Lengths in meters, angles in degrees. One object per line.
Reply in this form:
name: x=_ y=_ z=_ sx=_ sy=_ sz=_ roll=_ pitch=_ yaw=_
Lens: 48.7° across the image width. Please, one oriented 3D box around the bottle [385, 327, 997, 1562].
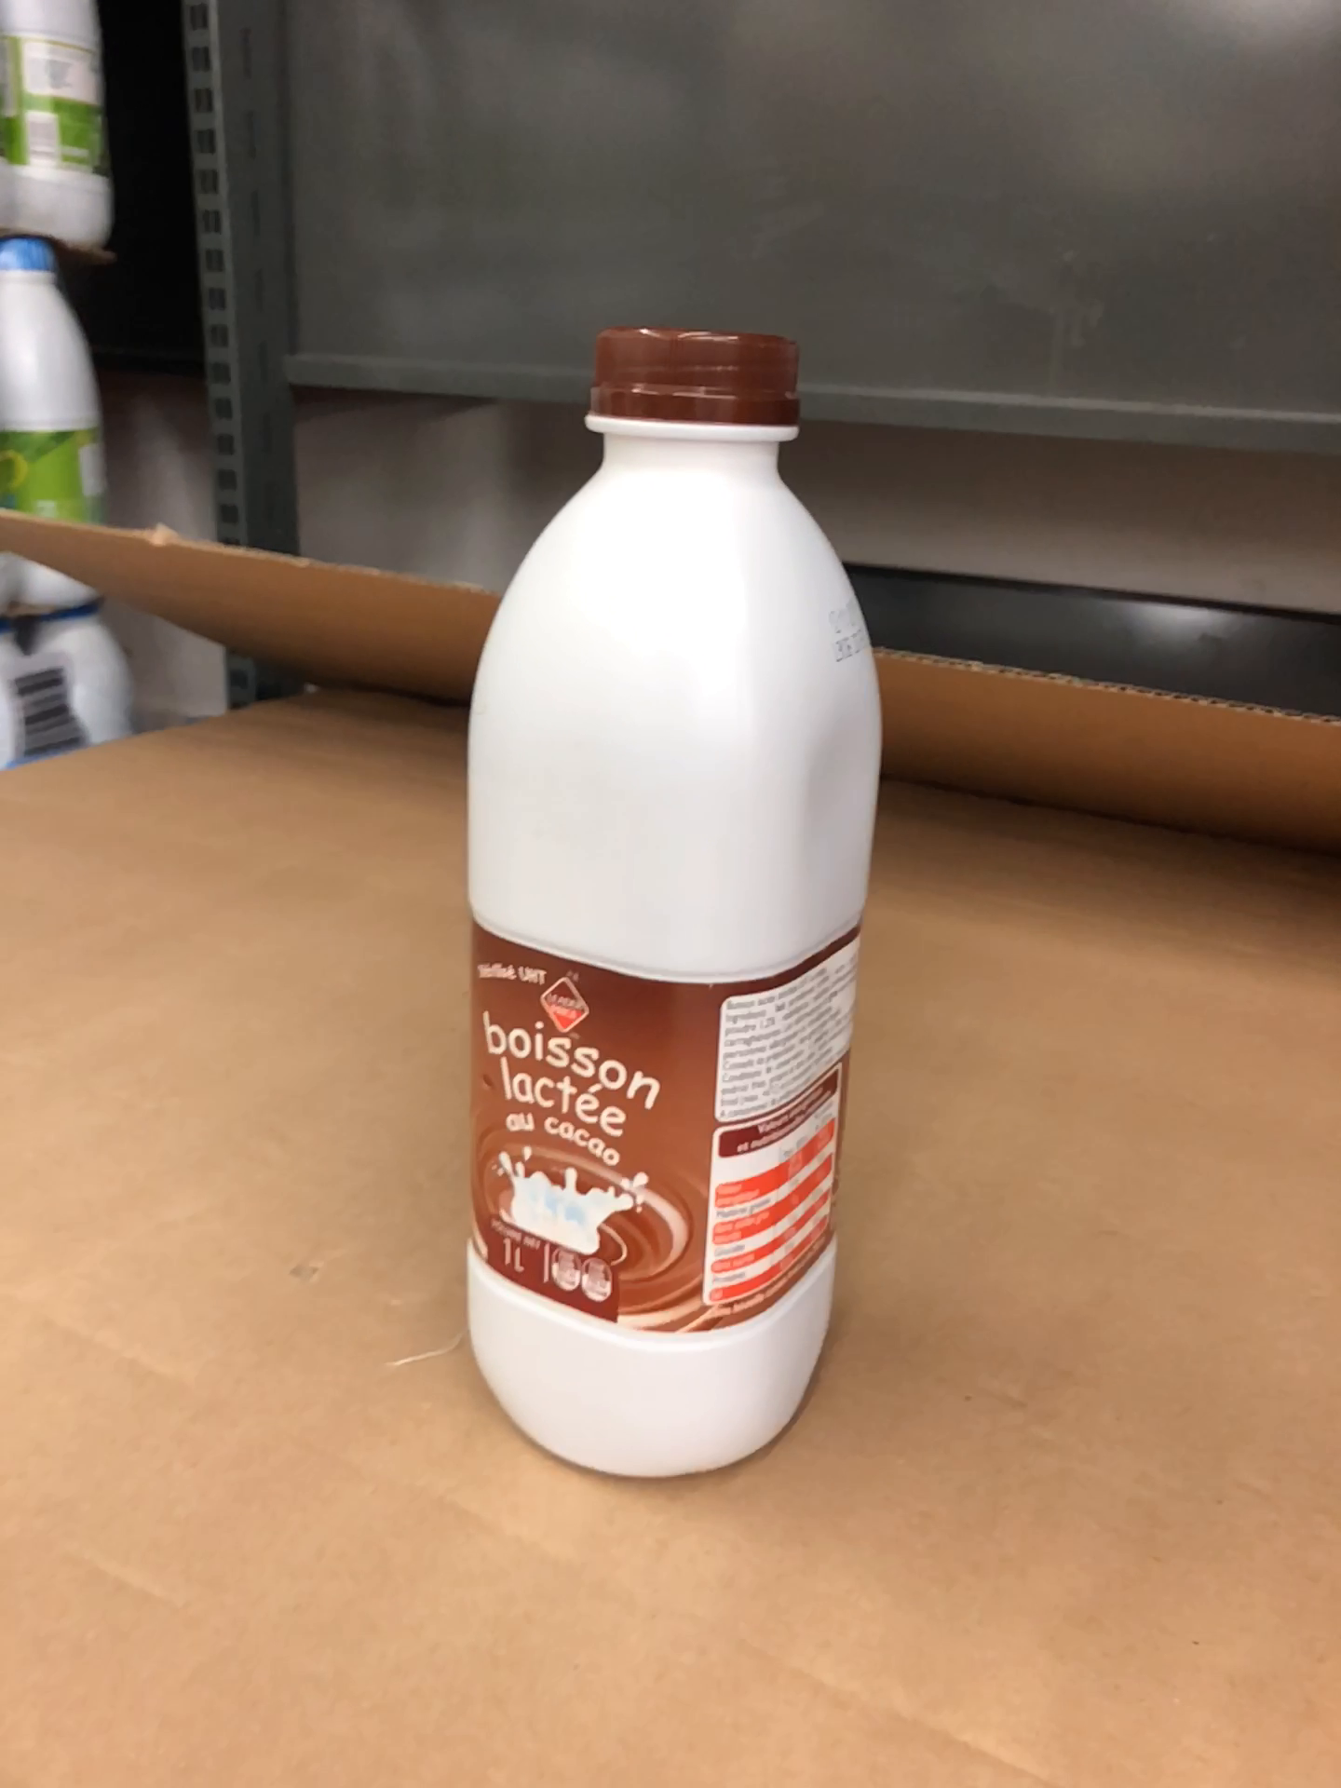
bottle: x=0.003 y=0.007 z=0.322 sx=0.090 sy=0.239 sz=0.080 roll=12 pitch=22 yaw=25
